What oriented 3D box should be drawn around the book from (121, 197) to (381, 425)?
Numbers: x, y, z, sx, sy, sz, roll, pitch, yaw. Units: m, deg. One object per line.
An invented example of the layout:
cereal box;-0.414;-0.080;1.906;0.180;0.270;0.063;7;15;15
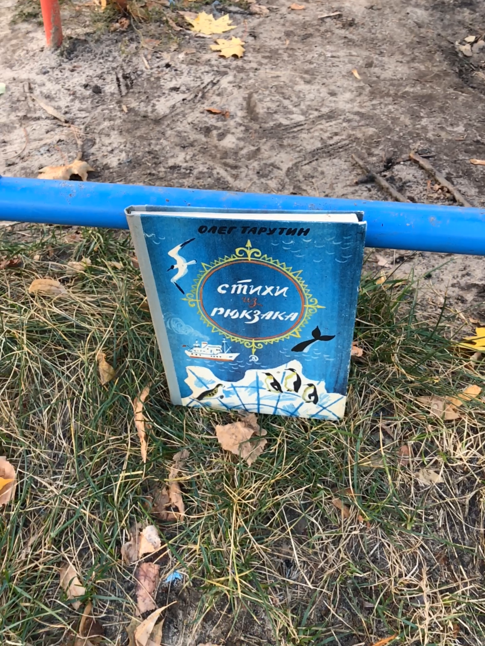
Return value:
book;0.005;0.001;0.444;0.179;0.209;0.023;4;41;4
